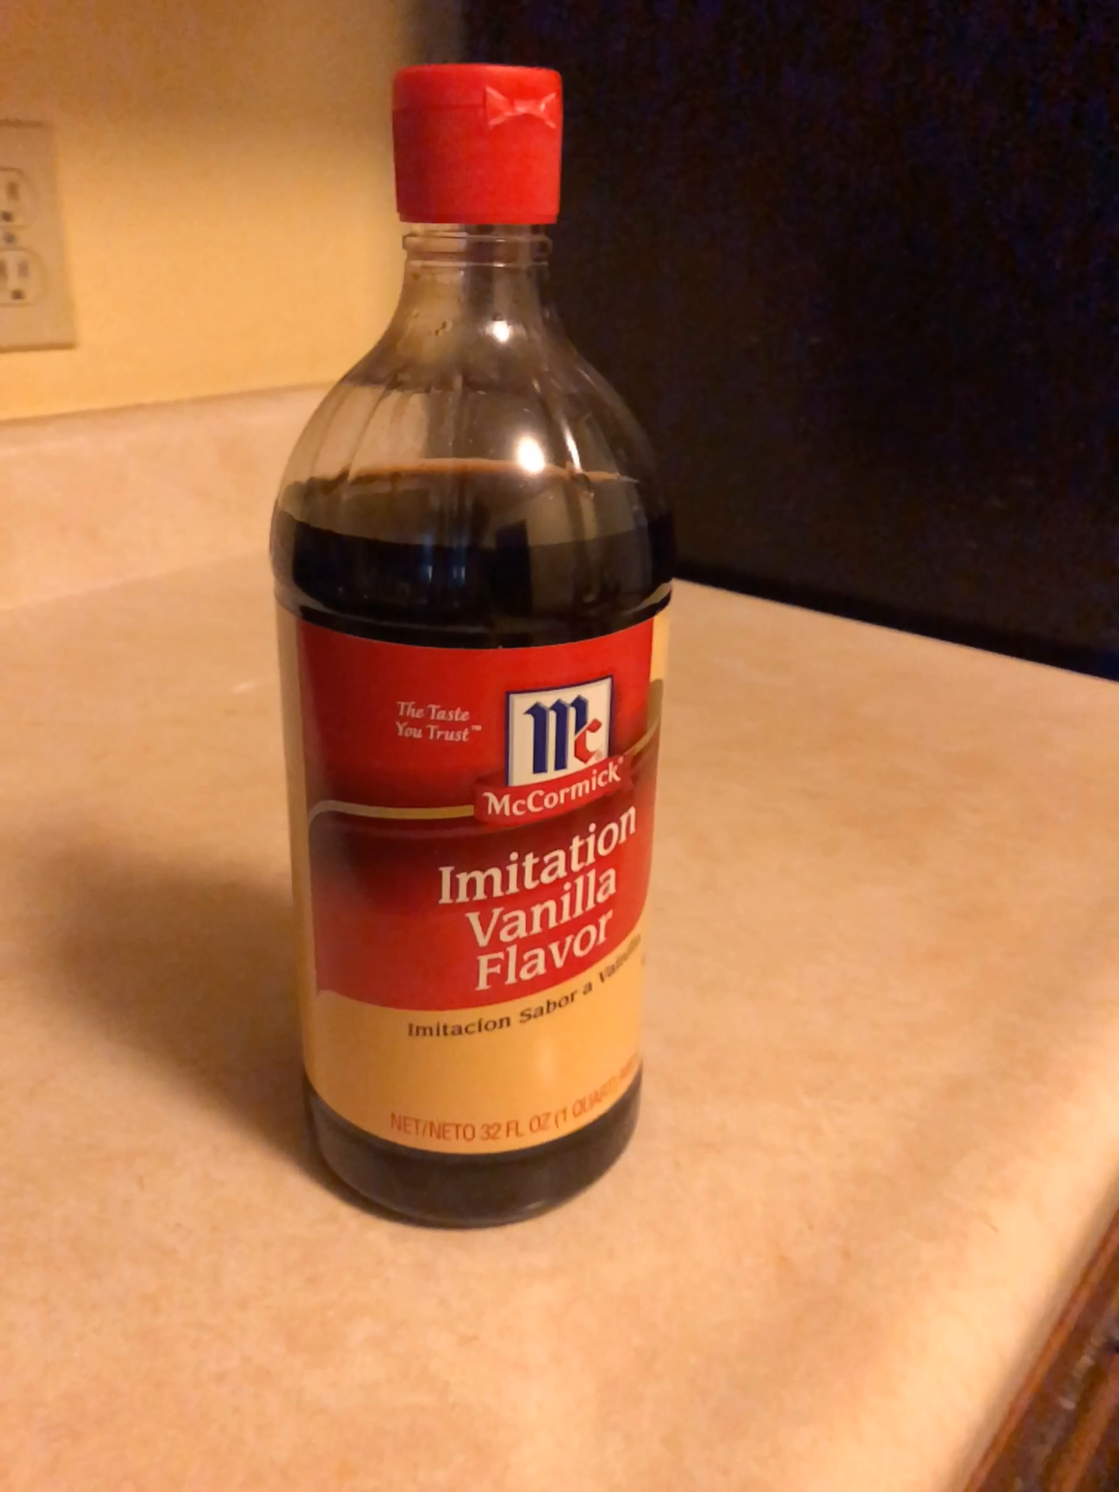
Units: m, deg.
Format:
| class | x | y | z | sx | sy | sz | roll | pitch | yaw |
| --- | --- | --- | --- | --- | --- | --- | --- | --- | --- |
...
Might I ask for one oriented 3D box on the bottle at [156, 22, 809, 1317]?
| class | x | y | z | sx | sy | sz | roll | pitch | yaw |
| --- | --- | --- | --- | --- | --- | --- | --- | --- | --- |
| bottle | -0.019 | -0.011 | 0.270 | 0.090 | 0.239 | 0.080 | -12 | 27 | -28 |
